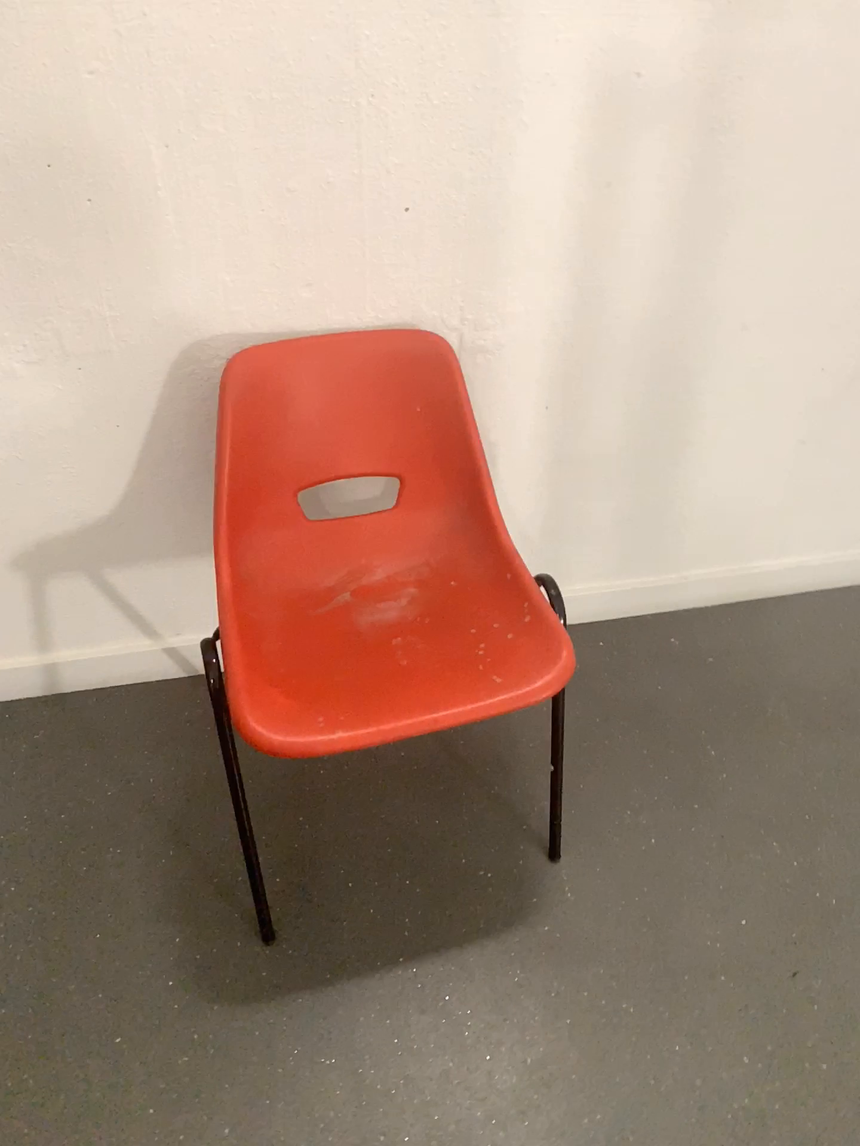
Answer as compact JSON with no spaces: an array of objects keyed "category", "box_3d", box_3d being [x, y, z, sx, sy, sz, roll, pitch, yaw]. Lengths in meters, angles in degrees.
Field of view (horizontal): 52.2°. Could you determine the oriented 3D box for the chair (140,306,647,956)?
[{"category":"chair","box_3d":[-0.096,0.082,1.365,0.510,0.713,0.595,-11,44,-13]}]
